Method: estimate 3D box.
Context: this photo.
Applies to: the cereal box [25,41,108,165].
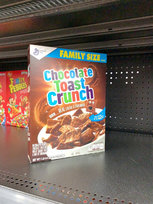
[{"bbox_3d":[-0.026,0.000,0.491,0.240,0.320,0.070,-2,5,-24],"label":"cereal box"}]
